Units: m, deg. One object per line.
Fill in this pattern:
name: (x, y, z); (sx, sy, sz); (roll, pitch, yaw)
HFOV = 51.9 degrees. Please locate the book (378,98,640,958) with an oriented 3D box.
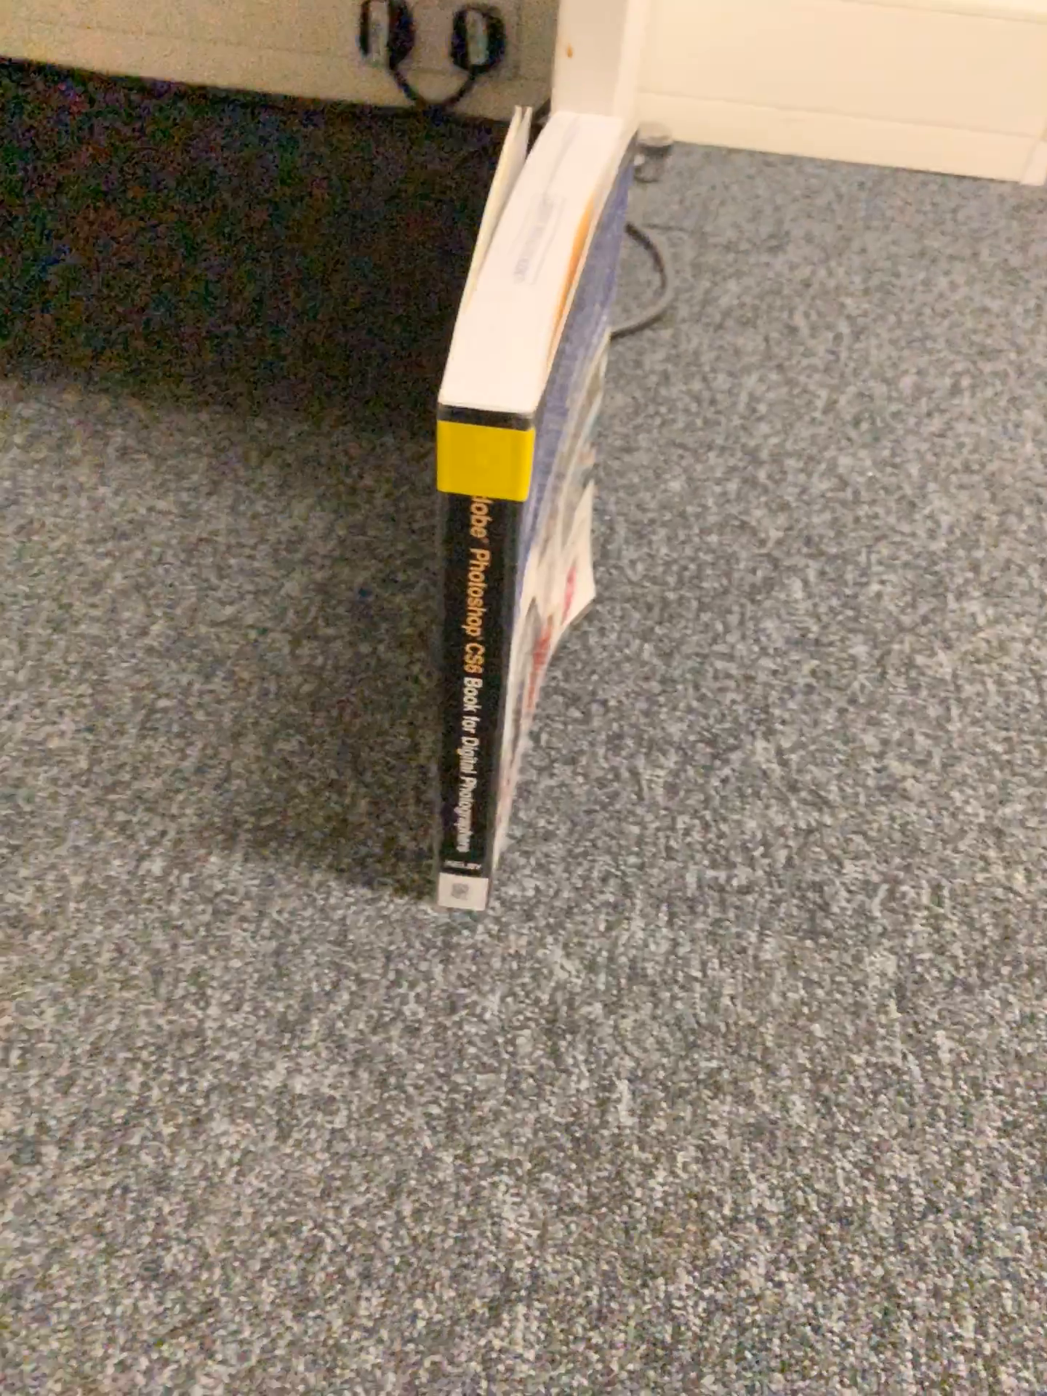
book: (-0.006, -0.058, 0.444); (0.051, 0.275, 0.213); (9, 49, 2)
